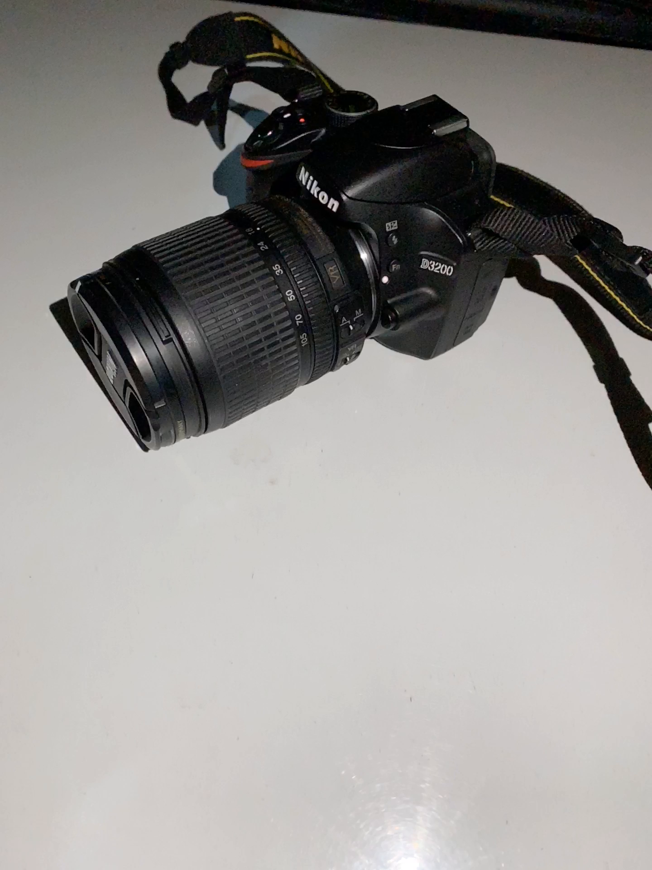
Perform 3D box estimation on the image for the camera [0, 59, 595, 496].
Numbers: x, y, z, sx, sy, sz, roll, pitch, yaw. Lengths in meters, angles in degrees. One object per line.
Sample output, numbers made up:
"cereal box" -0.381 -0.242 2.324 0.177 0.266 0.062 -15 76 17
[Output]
"camera" -0.013 -0.085 0.300 0.201 0.099 0.127 -21 50 -25
